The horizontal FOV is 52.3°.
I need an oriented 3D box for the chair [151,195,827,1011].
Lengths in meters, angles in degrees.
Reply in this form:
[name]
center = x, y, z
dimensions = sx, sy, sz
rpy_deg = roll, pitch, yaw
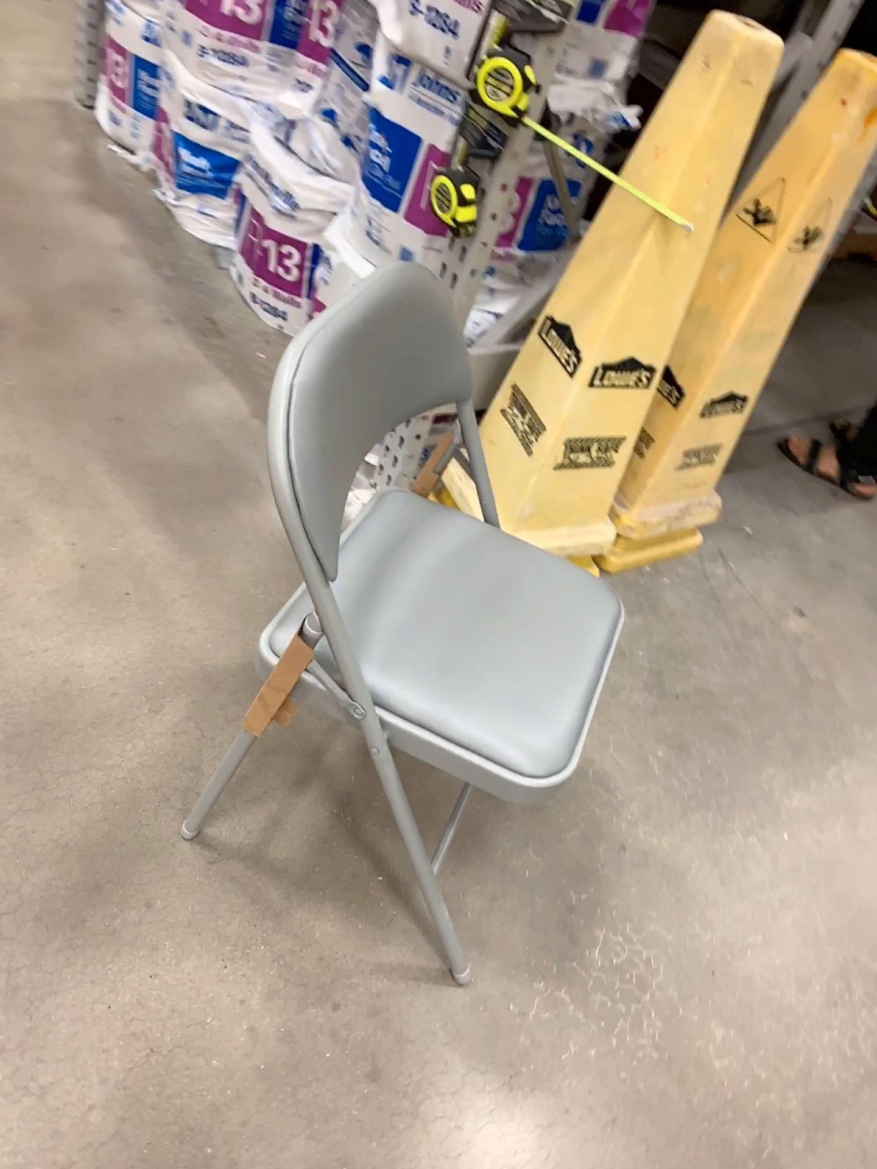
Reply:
[chair]
center = 0.031, 0.040, 1.075
dimensions = 0.484, 0.709, 0.490
rpy_deg = 27, 43, 5
